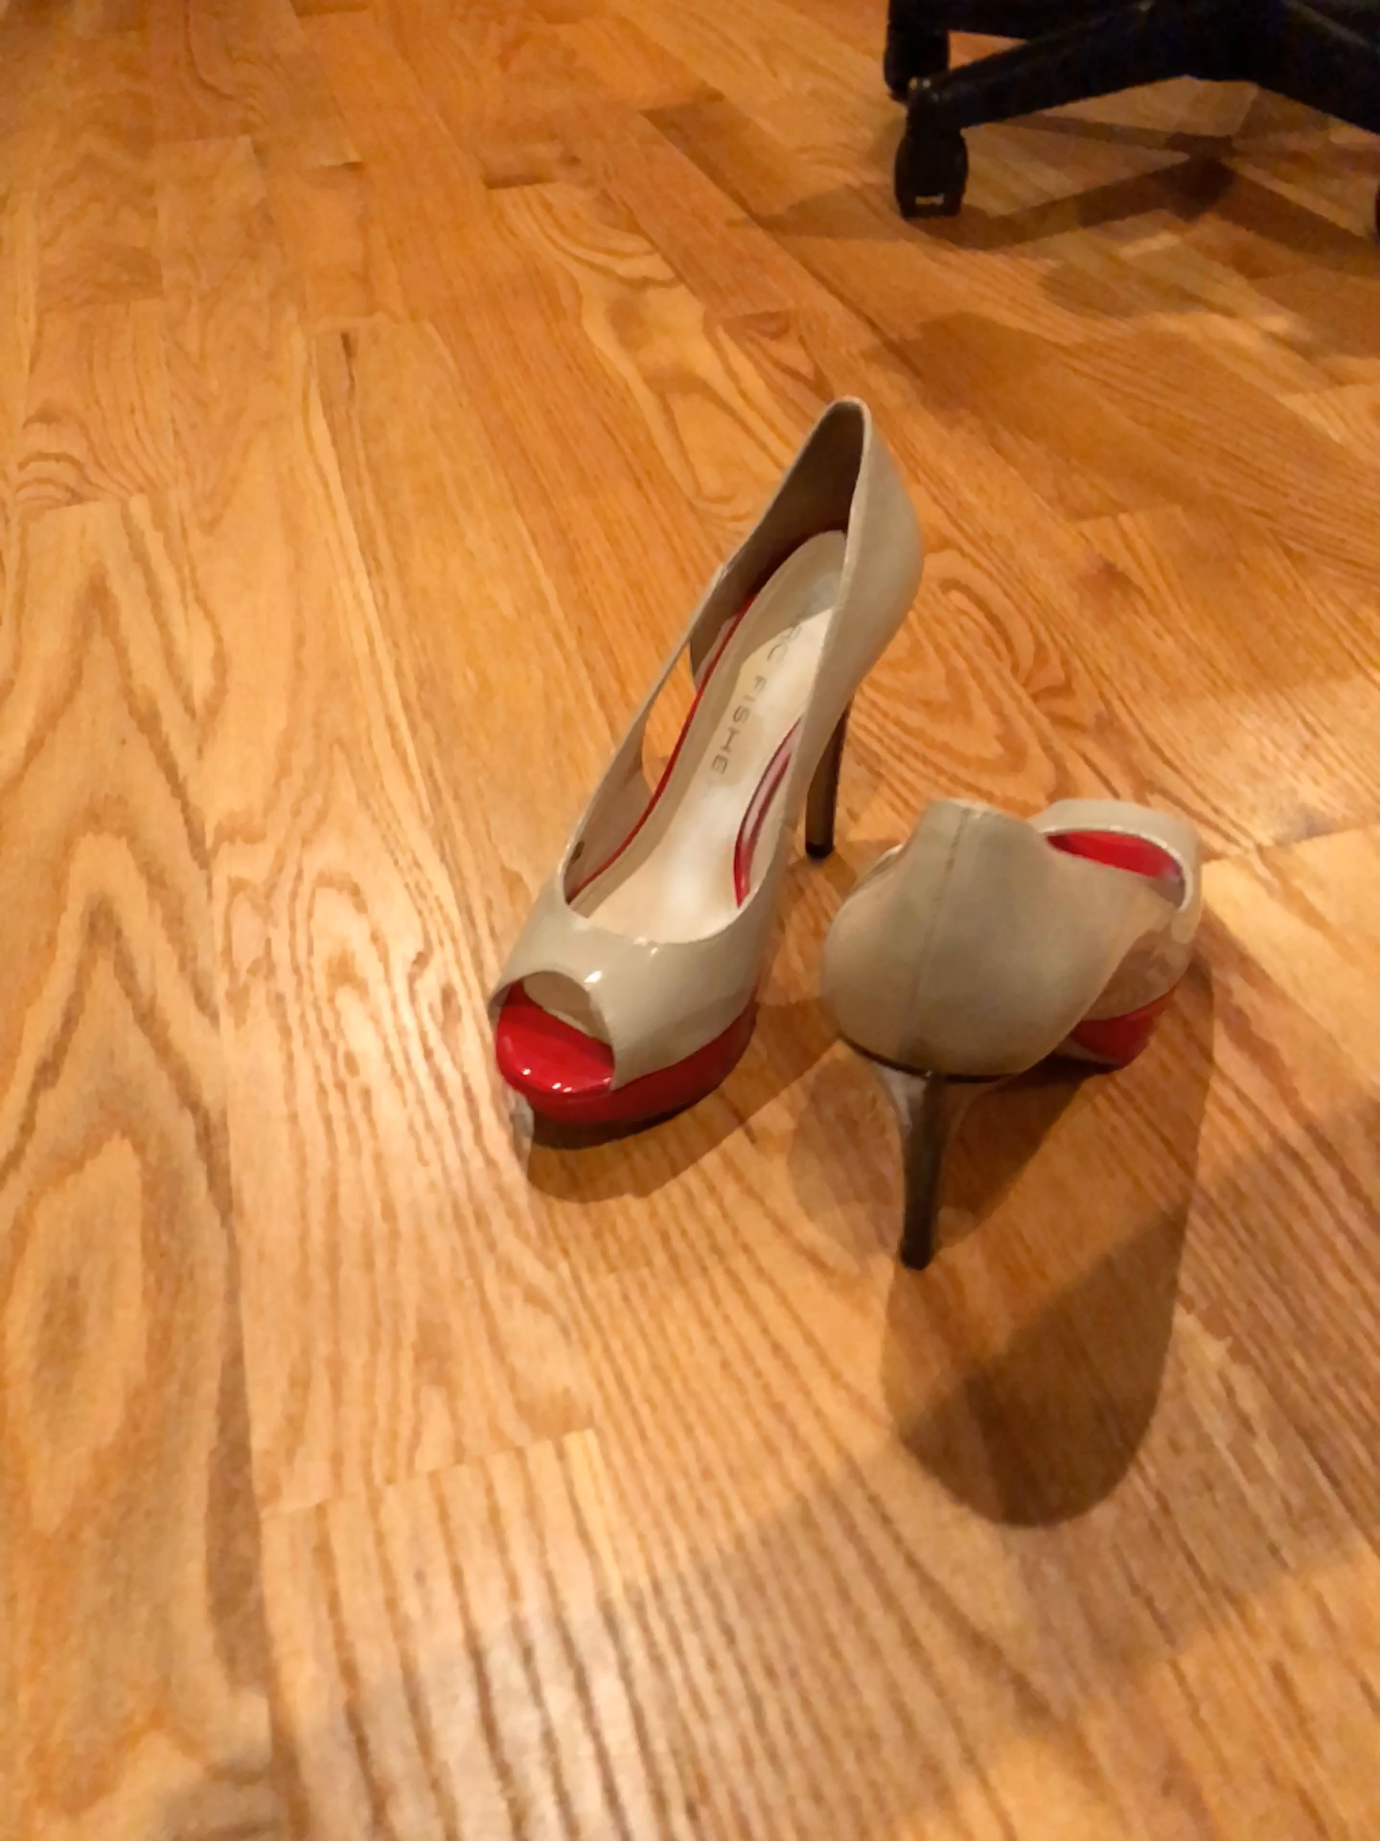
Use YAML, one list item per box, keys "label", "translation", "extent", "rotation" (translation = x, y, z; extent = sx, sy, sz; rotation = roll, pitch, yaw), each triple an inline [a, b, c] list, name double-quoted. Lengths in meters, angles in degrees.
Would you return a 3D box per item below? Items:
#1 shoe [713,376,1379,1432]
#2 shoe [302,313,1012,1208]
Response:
- label: "shoe"
  translation: [0.101, -0.019, 0.358]
  extent: [0.085, 0.129, 0.216]
  rotation: [21, 47, 26]
- label: "shoe"
  translation: [0.008, -0.057, 0.439]
  extent: [0.080, 0.149, 0.221]
  rotation: [19, 46, 24]
